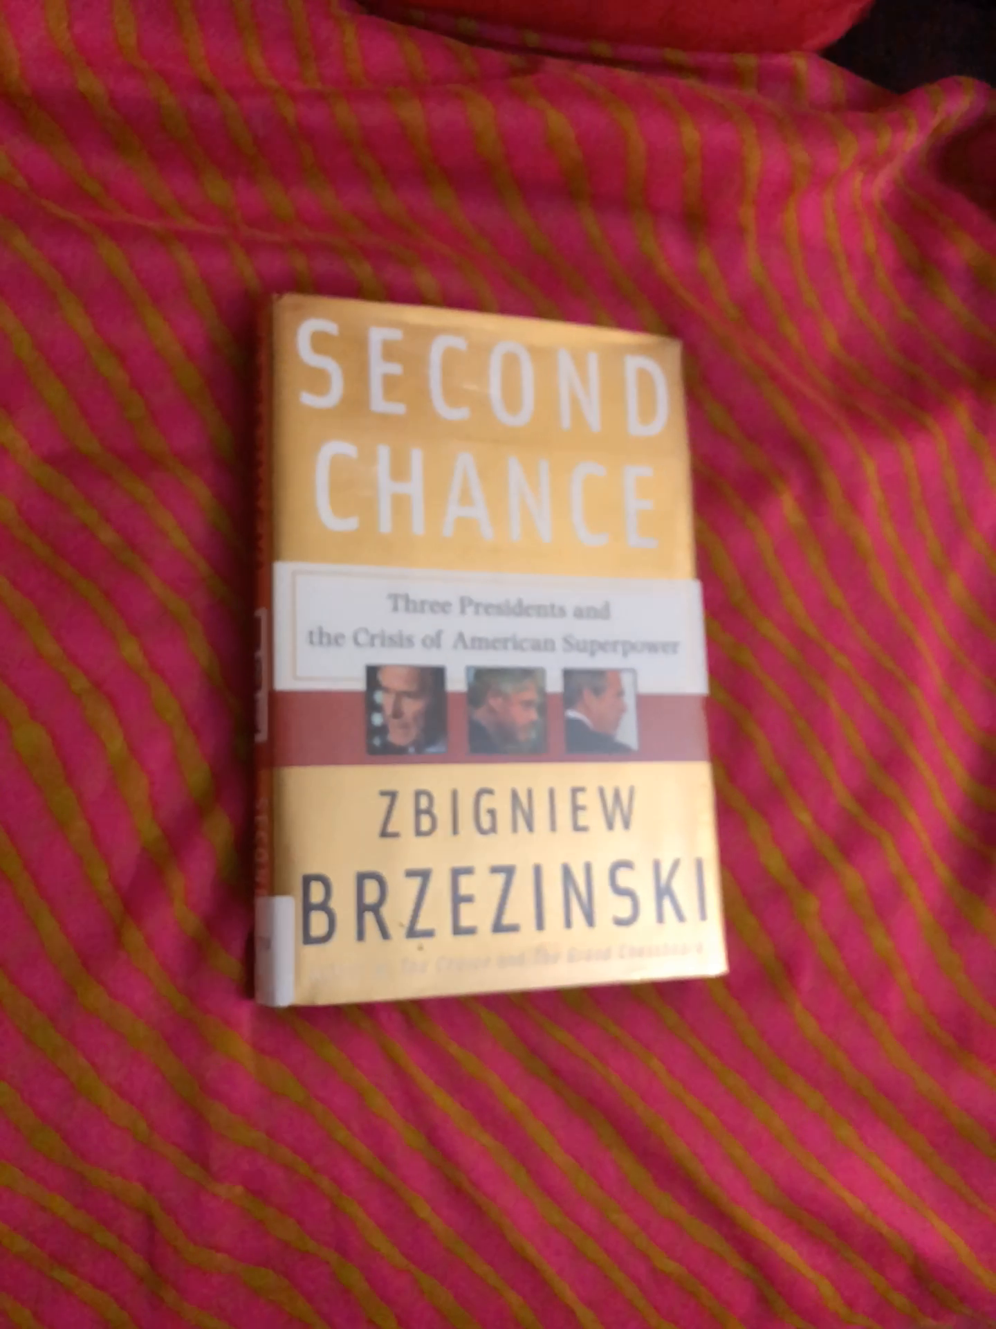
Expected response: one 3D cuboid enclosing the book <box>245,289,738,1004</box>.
[{"bbox_3d":[-0.005,-0.006,0.342,0.140,0.037,0.200,0,81,-13],"label":"book"}]
